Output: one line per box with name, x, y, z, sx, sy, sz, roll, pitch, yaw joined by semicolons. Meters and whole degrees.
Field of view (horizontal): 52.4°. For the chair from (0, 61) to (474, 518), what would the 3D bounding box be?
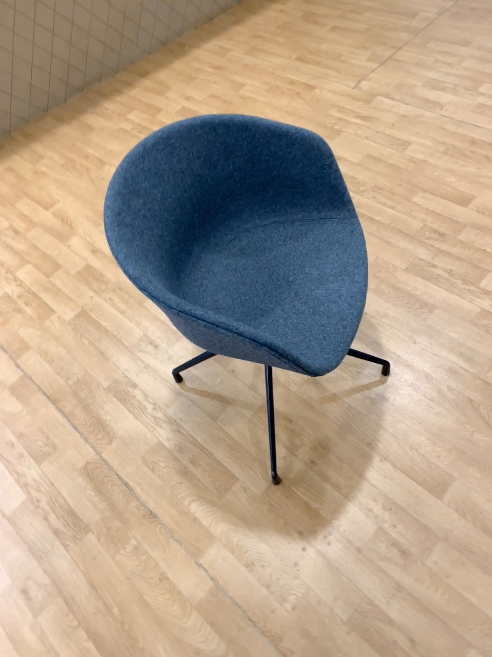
chair;0.055;-0.101;1.191;0.731;0.685;0.714;10;58;19
